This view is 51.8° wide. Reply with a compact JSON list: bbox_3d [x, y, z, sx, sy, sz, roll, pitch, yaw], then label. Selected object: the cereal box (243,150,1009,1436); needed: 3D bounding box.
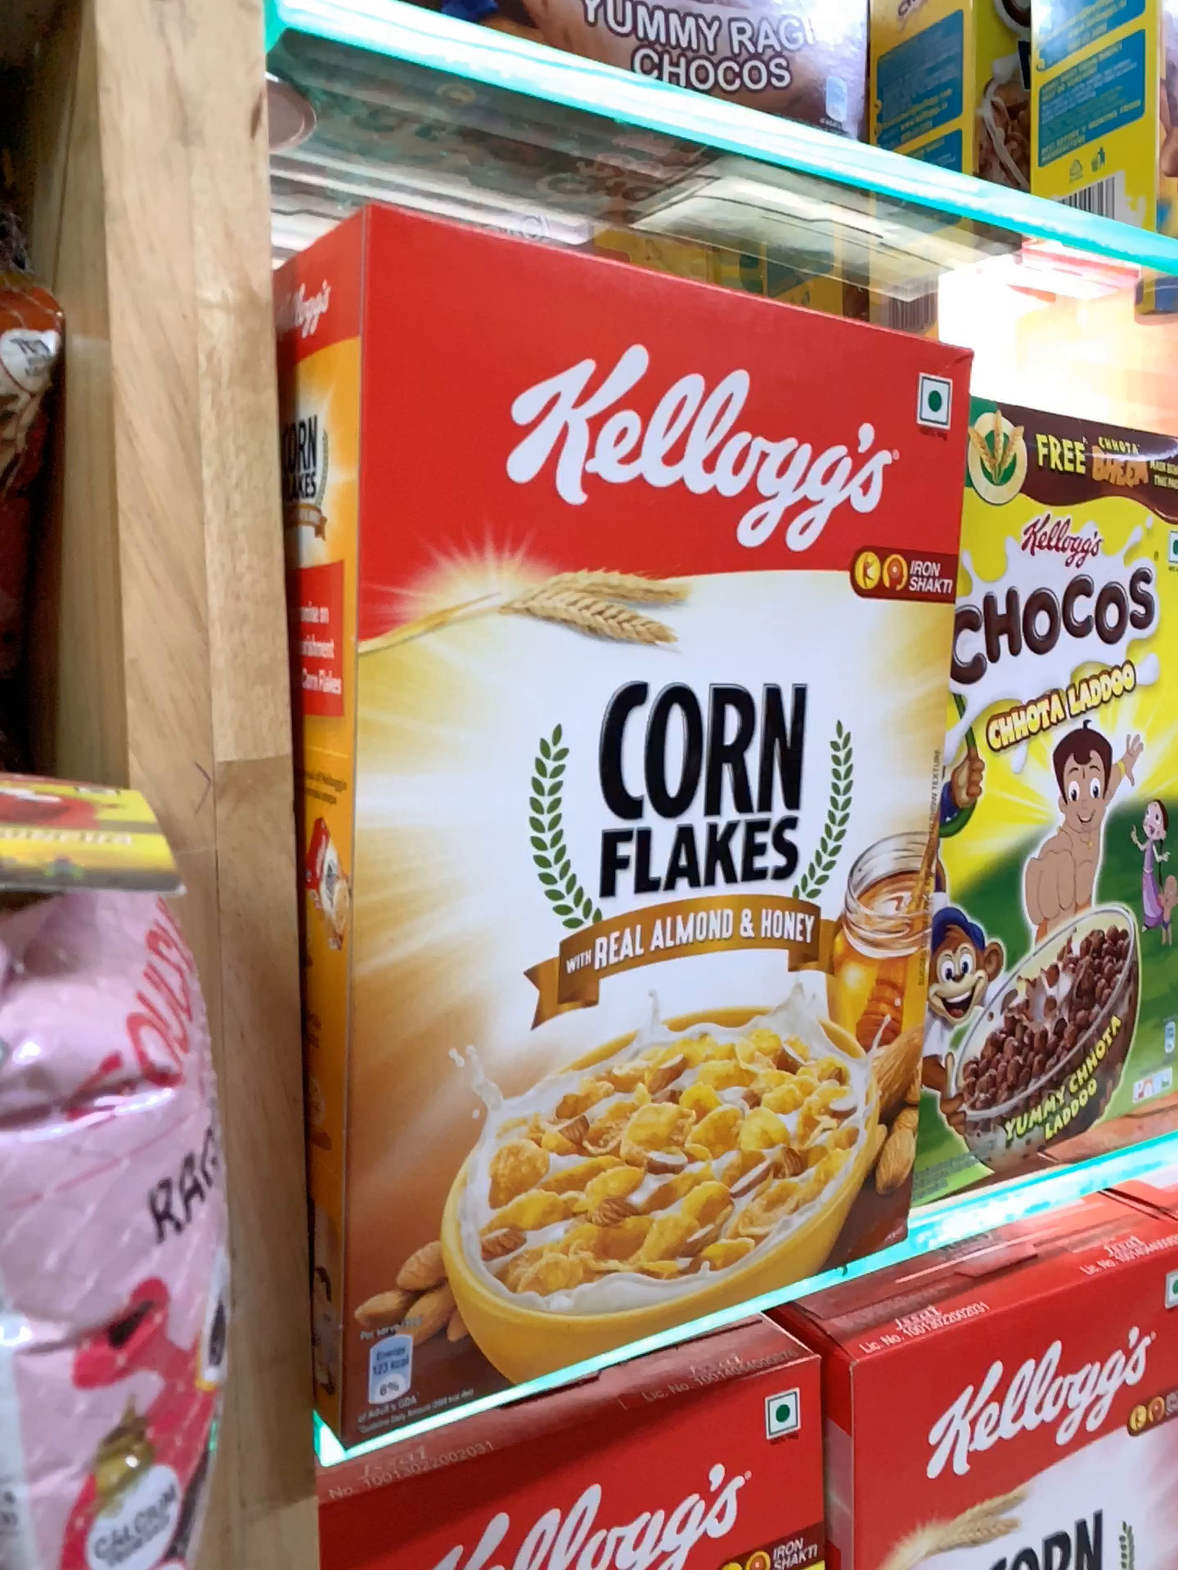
[{"bbox_3d":[0.011,0.001,0.300,0.170,0.239,0.070,-2,8,-34],"label":"cereal box"}]
